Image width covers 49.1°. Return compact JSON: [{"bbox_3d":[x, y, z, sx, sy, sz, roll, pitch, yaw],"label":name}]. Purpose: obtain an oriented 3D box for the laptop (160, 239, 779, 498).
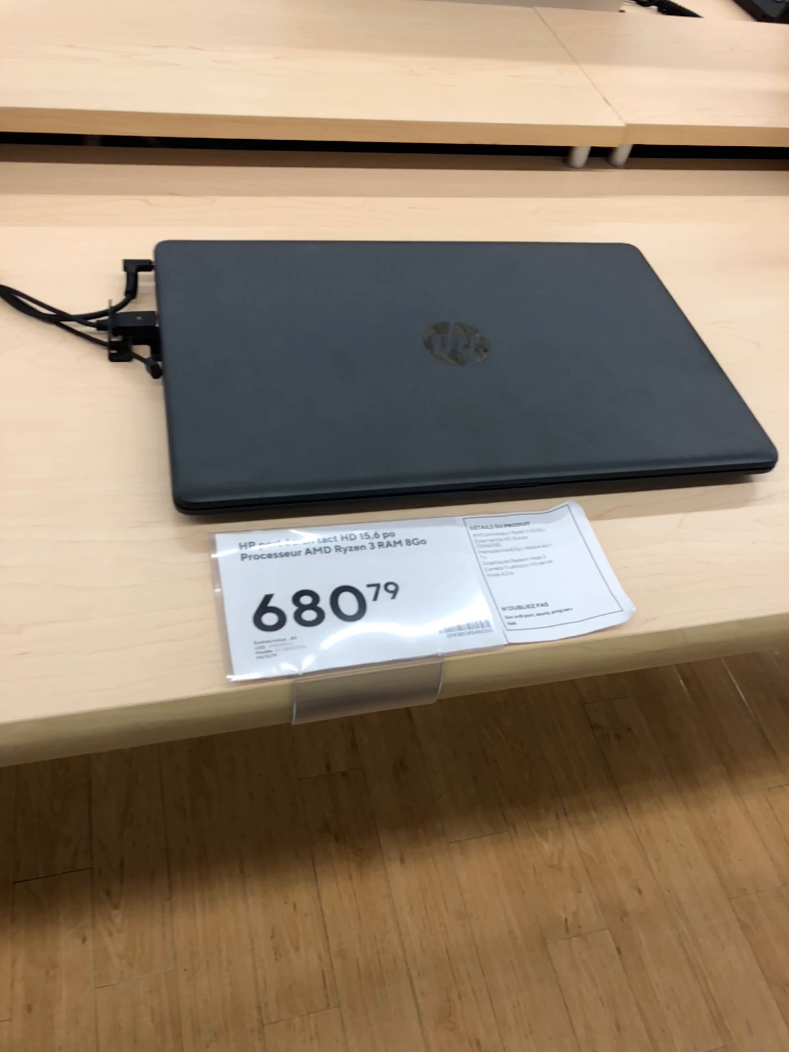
[{"bbox_3d":[0.041,-0.125,0.584,0.374,0.005,0.245,-5,50,-15],"label":"laptop"}]
